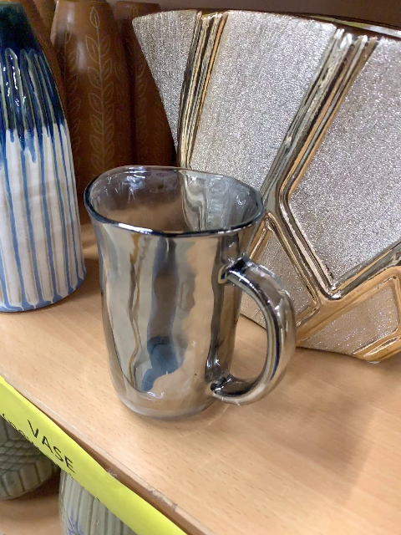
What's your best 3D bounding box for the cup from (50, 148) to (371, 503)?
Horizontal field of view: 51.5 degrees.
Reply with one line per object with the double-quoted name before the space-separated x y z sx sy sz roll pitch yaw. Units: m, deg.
"cup" -0.001 0.017 0.196 0.110 0.110 0.070 25 36 31
